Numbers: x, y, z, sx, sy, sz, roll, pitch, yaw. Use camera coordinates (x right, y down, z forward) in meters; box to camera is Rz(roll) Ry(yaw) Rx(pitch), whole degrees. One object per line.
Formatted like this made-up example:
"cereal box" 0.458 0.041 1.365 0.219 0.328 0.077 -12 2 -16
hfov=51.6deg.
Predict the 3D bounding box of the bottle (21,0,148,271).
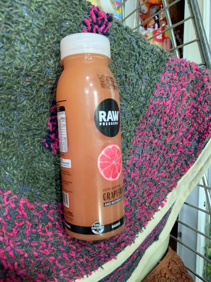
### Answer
"bottle" -0.017 -0.009 0.162 0.060 0.060 0.160 -5 91 -38
